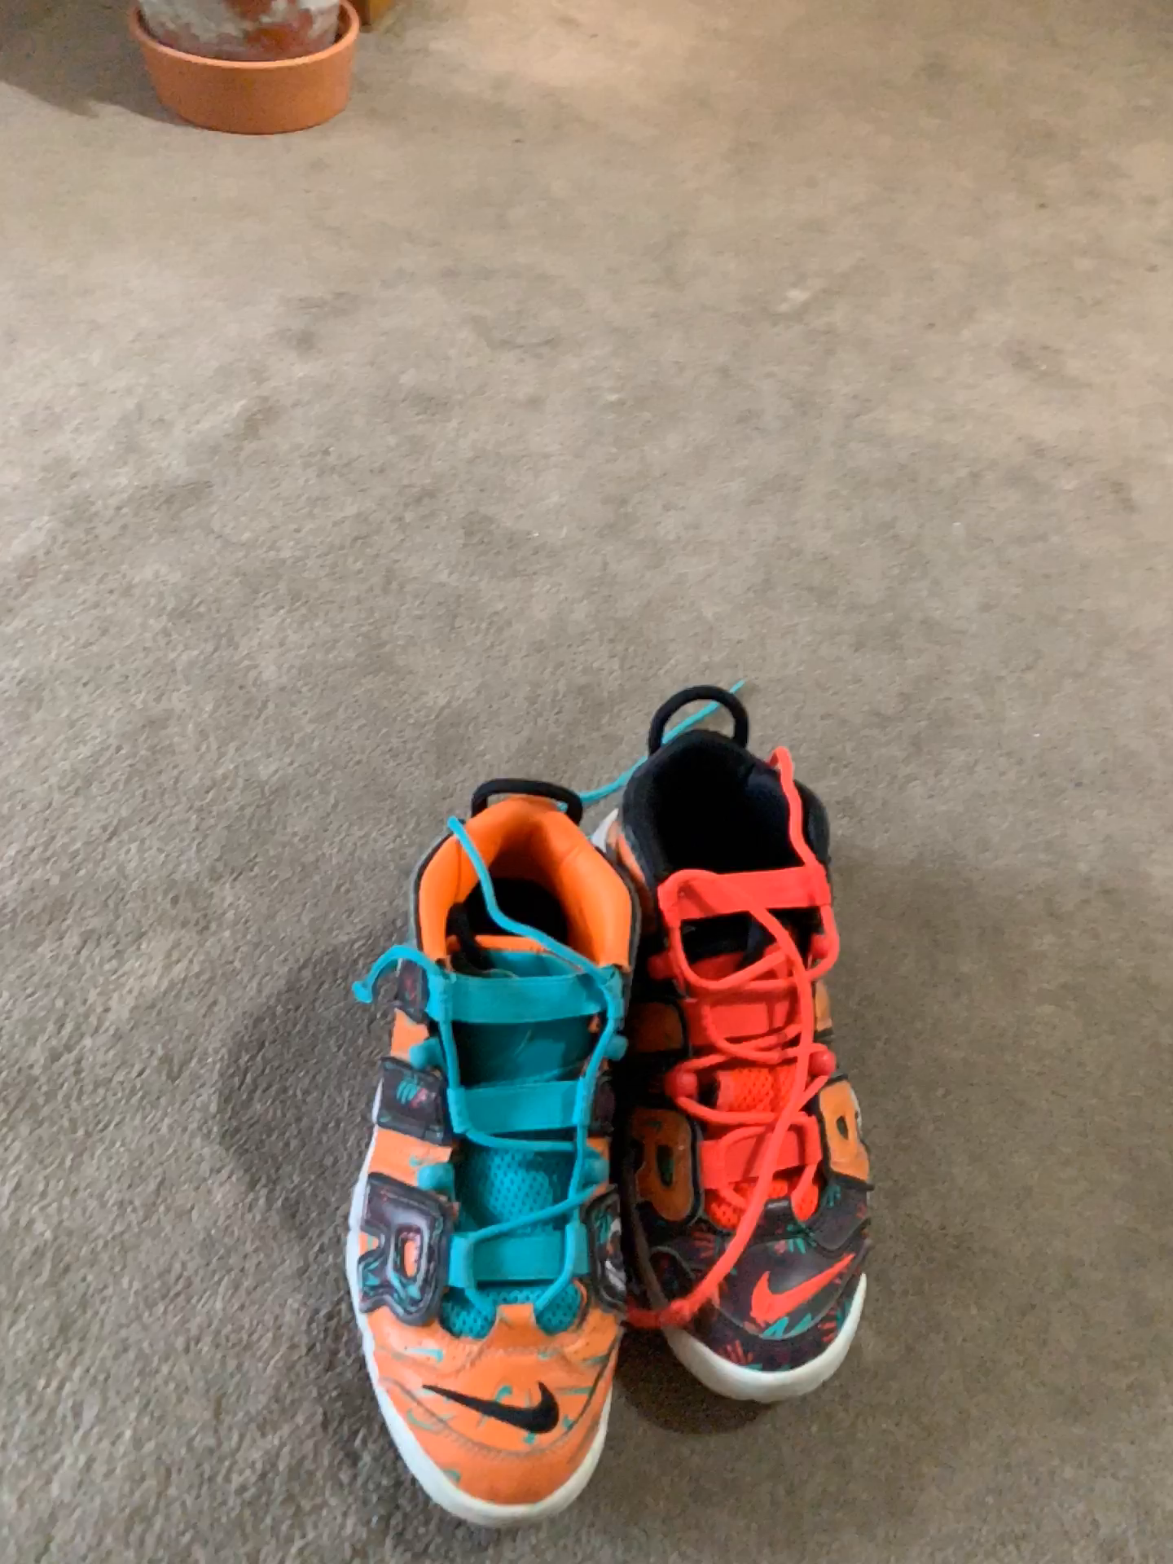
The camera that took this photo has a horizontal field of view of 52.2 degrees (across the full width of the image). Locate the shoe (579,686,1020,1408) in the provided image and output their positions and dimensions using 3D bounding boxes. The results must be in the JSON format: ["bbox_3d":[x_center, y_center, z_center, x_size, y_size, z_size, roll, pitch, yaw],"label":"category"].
[{"bbox_3d":[0.061,0.095,0.443,0.100,0.109,0.232,-5,62,-5],"label":"shoe"}]

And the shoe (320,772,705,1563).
[{"bbox_3d":[-0.025,0.129,0.412,0.100,0.089,0.252,1,61,-5],"label":"shoe"}]
